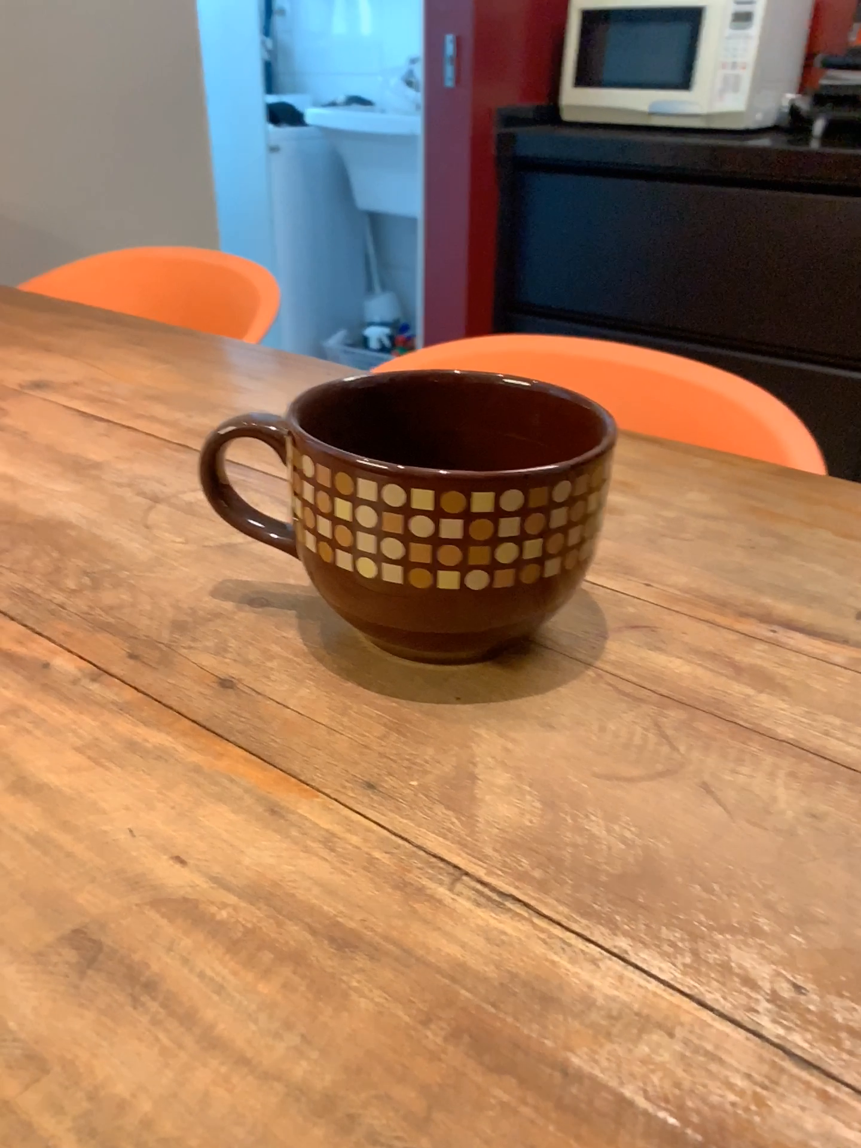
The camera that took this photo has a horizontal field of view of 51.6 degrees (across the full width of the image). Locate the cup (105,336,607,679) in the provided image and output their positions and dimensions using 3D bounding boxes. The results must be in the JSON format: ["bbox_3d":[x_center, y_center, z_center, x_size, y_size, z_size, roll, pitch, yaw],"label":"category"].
[{"bbox_3d":[-0.020,-0.039,0.396,0.180,0.089,0.141,4,29,6],"label":"cup"}]
